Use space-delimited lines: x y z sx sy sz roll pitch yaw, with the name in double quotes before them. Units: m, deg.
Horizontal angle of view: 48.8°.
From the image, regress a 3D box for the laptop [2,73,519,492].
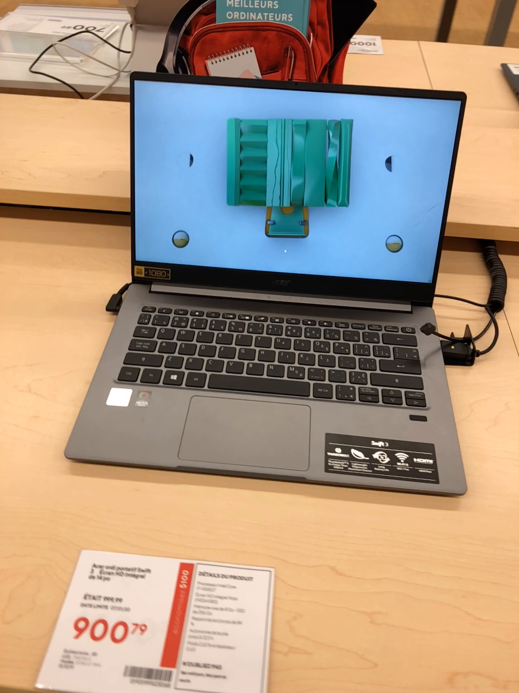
"laptop" 0.019 -0.074 0.494 0.315 0.177 0.313 5 46 2
